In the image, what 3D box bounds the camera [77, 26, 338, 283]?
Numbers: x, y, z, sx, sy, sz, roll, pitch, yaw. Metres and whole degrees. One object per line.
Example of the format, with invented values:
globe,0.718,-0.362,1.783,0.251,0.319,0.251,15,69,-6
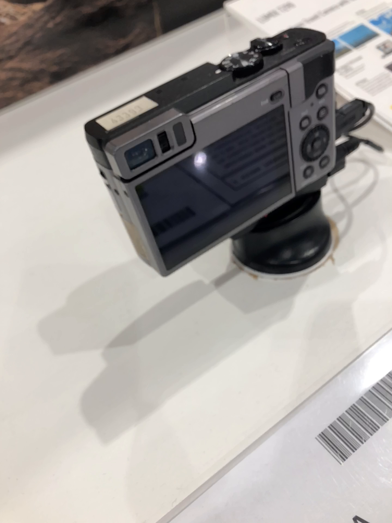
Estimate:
camera,0.013,-0.048,0.198,0.107,0.065,0.030,-32,45,-15
